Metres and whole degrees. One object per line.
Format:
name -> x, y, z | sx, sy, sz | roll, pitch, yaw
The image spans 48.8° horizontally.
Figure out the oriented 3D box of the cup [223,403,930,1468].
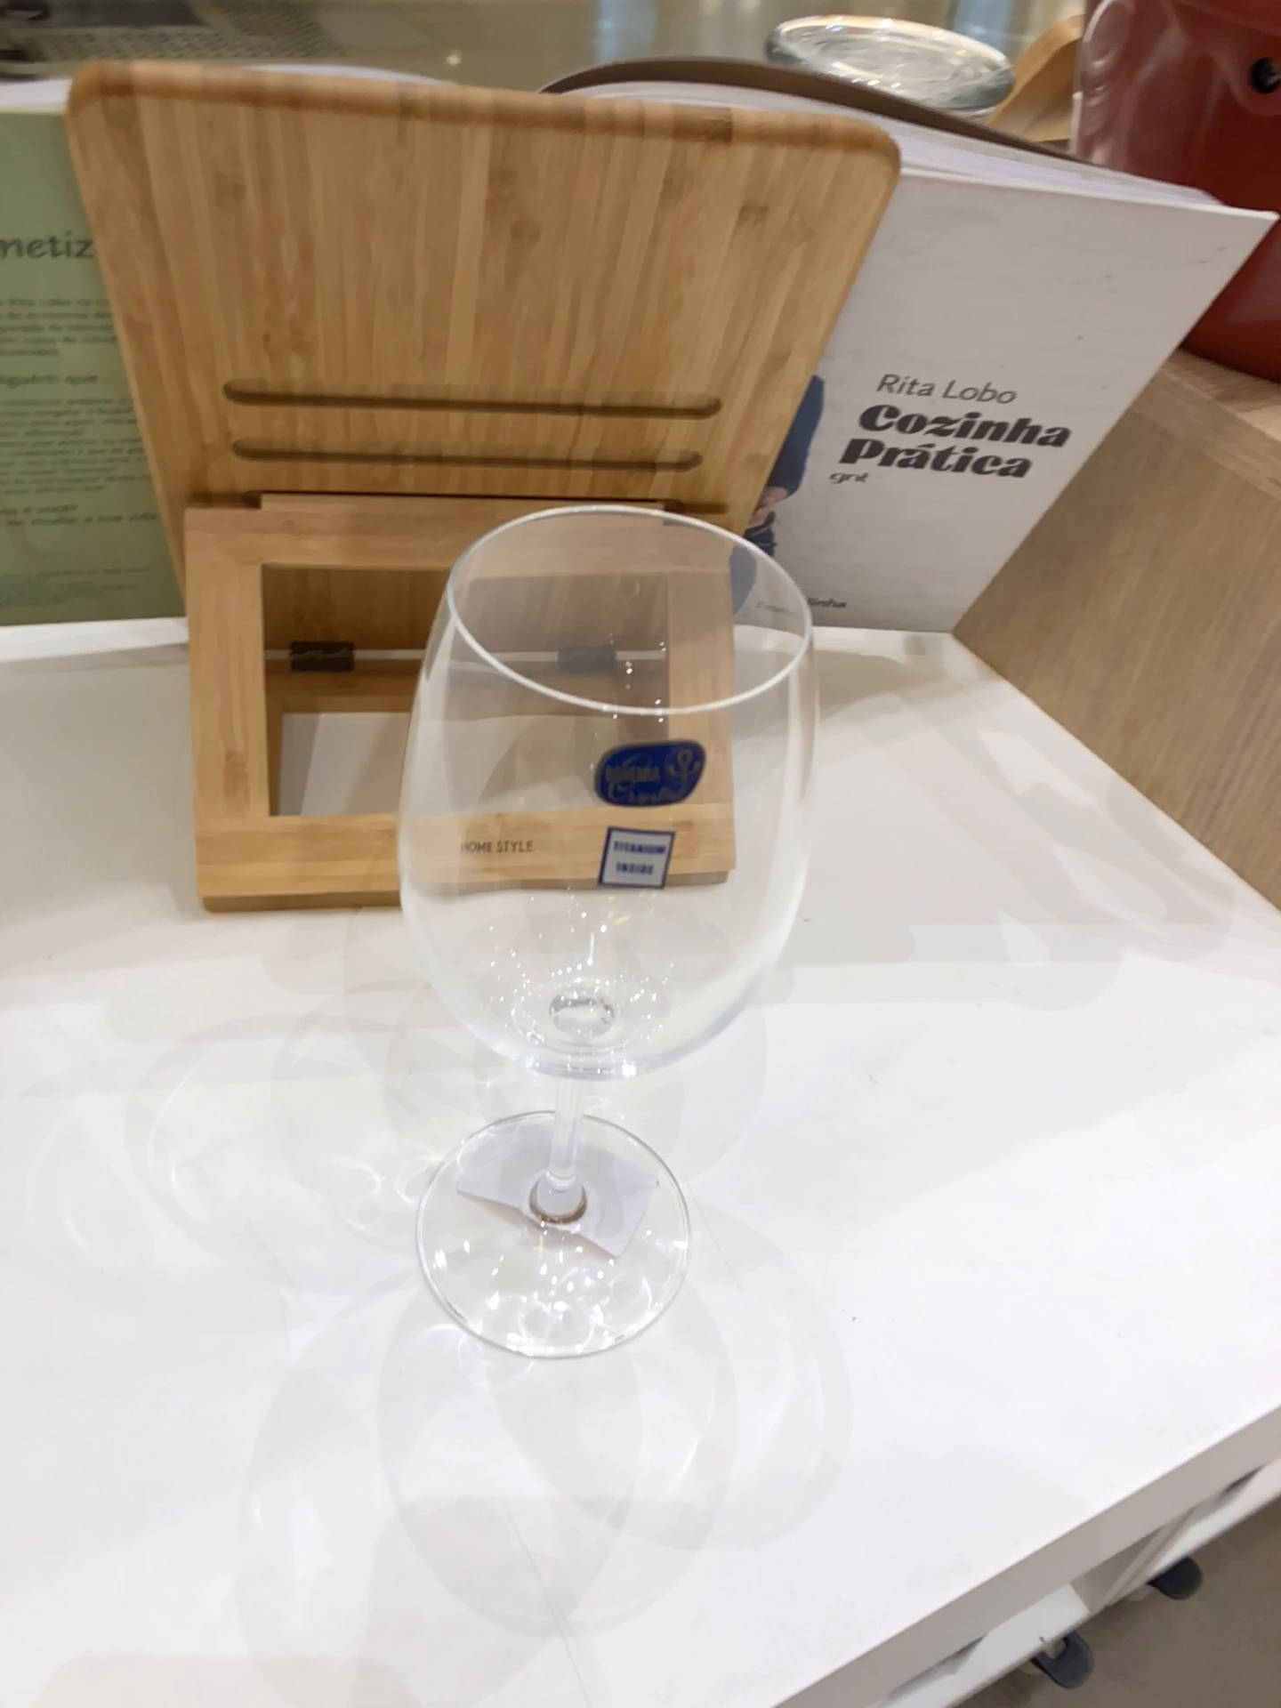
cup -> -0.027, 0.031, 0.331 | 0.100, 0.238, 0.091 | -12, 46, -21
